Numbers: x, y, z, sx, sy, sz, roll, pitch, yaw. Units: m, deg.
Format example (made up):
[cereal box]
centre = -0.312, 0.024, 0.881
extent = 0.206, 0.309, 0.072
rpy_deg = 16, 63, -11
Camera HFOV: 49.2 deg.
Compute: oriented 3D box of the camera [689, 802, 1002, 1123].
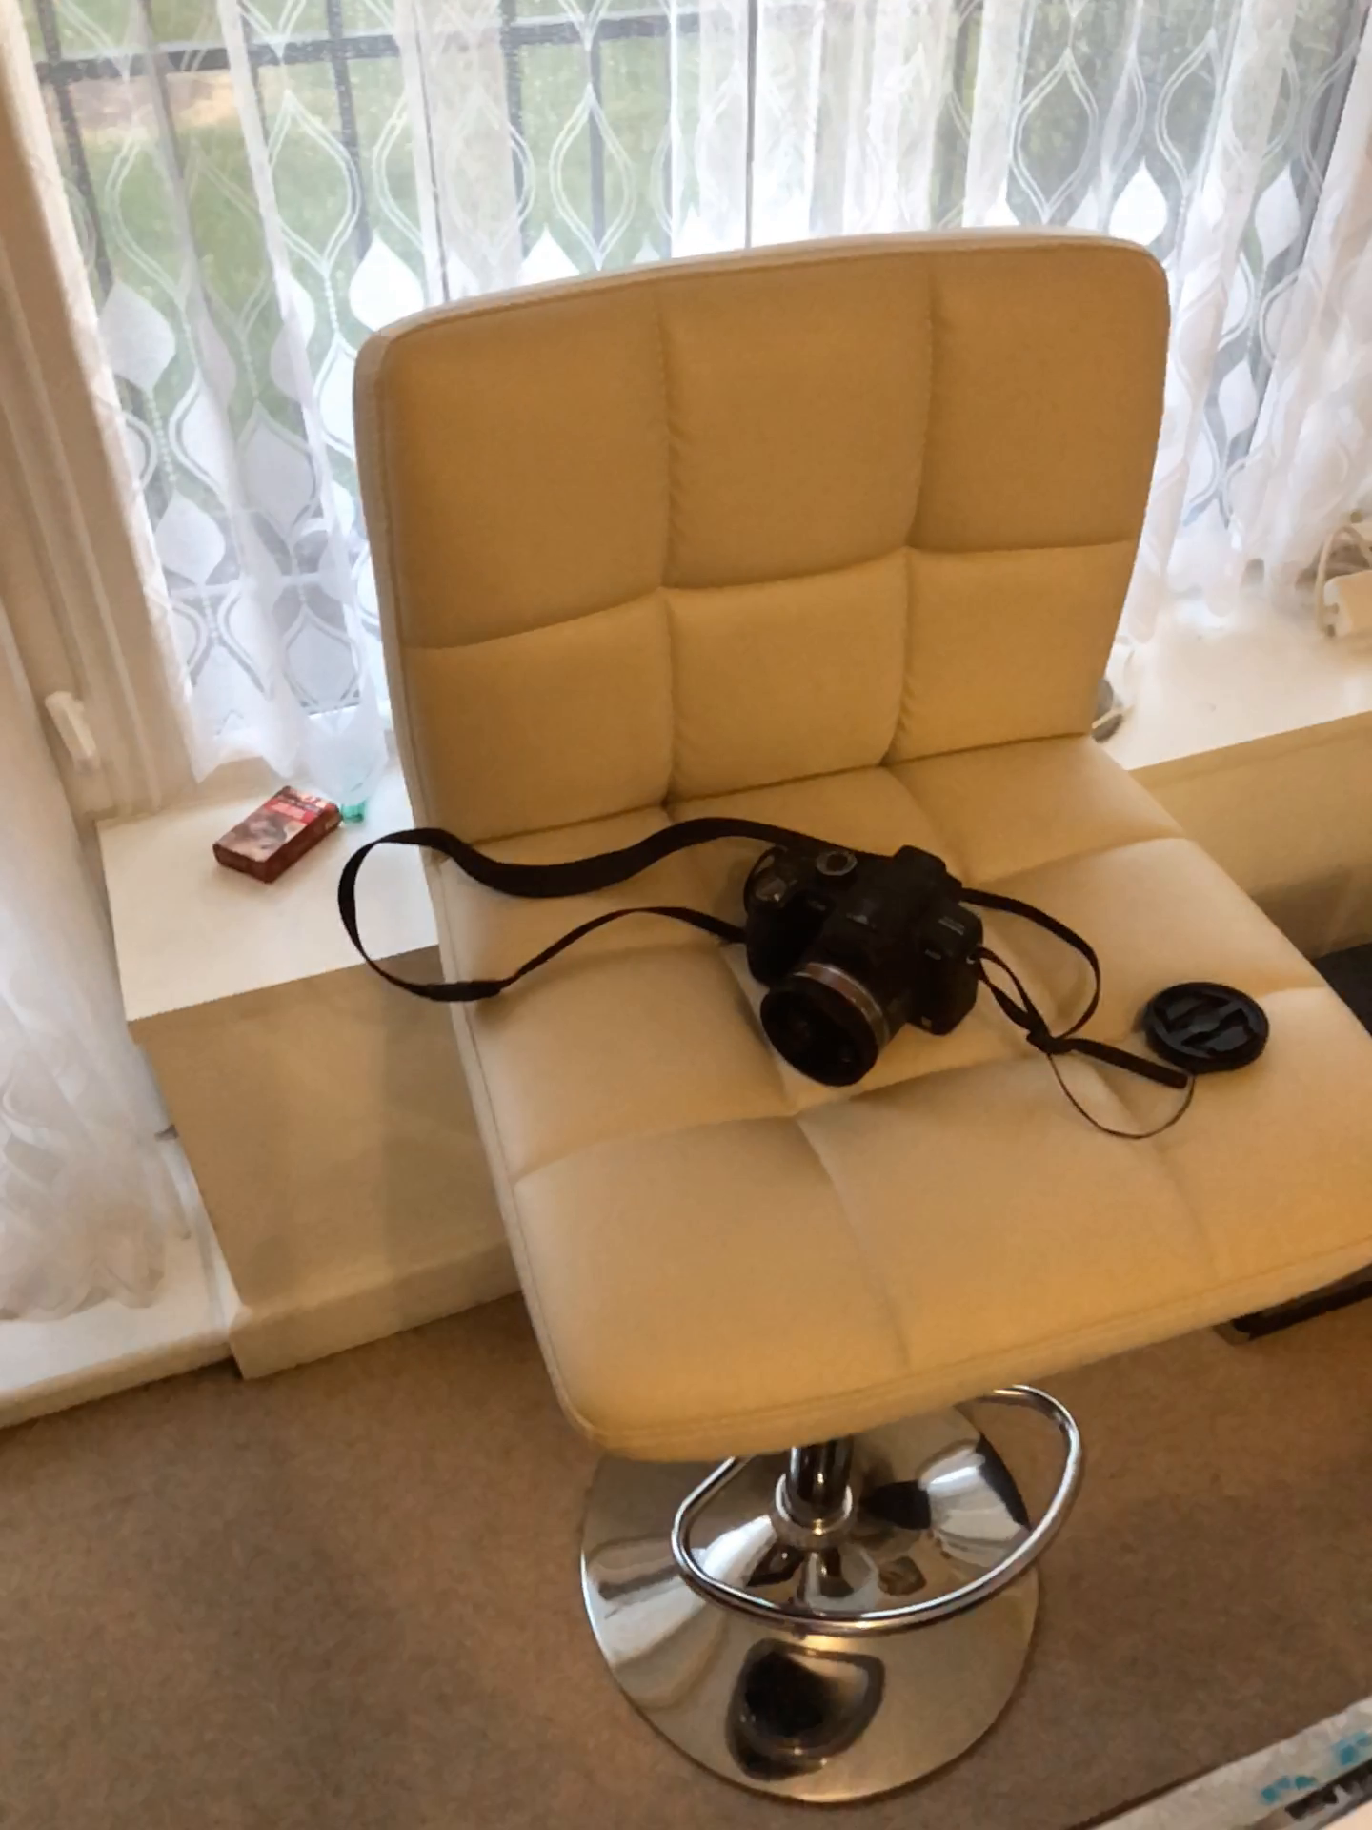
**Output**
[camera]
centre = 0.074, 0.020, 0.712
extent = 0.112, 0.076, 0.098
rpy_deg = 22, 46, 23
